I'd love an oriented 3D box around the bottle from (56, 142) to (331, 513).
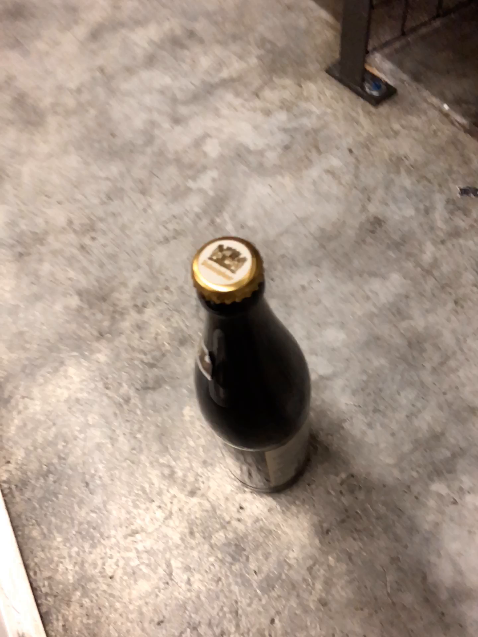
[{"bbox_3d":[-0.003,0.034,0.294,0.070,0.250,0.070,-3,60,6],"label":"bottle"}]
